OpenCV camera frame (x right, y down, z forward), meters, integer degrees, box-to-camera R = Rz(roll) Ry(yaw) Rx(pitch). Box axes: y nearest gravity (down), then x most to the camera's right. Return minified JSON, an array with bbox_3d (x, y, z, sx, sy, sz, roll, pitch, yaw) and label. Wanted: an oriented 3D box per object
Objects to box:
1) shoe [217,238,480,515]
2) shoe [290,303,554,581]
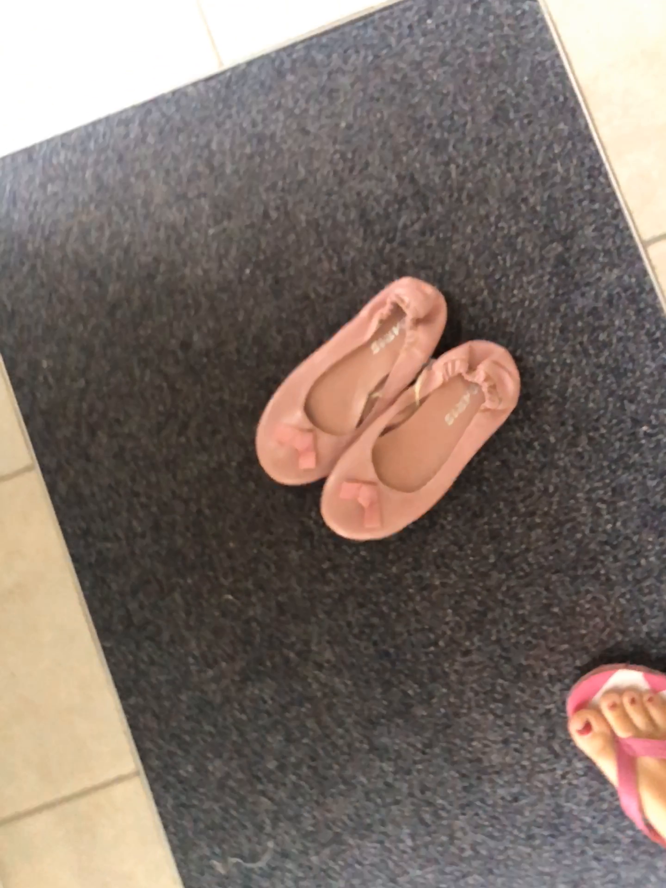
[{"bbox_3d":[0.015,-0.054,0.665,0.090,0.100,0.230,41,90,4],"label":"shoe"},{"bbox_3d":[0.077,0.000,0.665,0.090,0.100,0.230,41,90,4],"label":"shoe"}]
